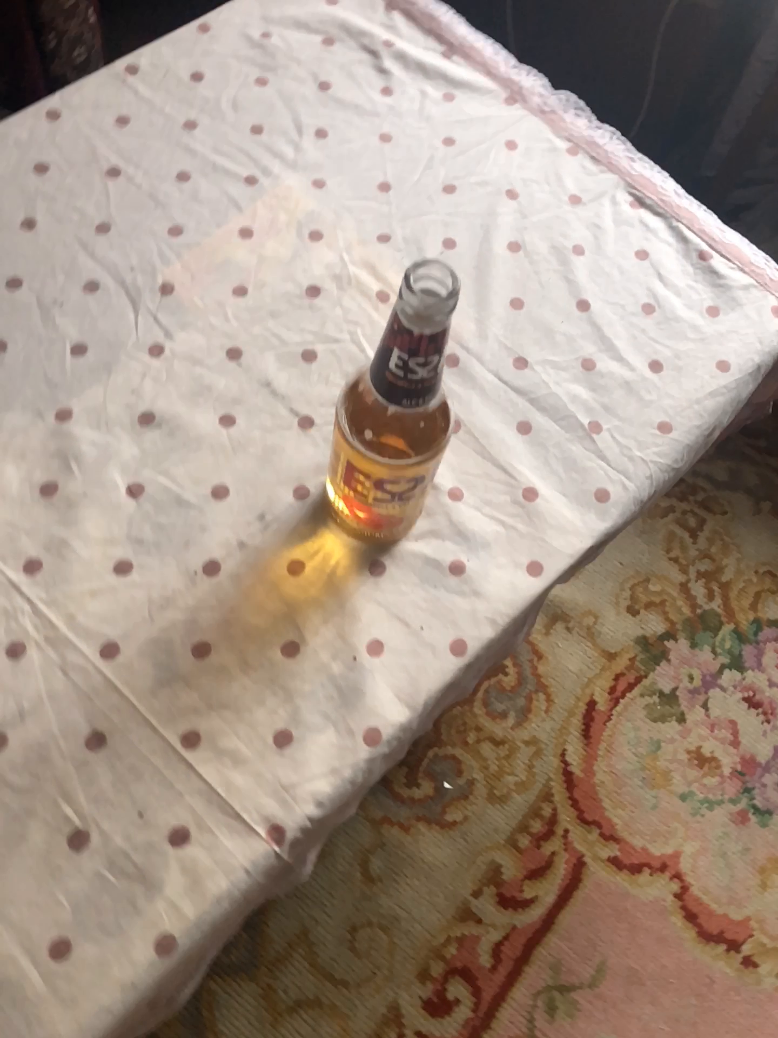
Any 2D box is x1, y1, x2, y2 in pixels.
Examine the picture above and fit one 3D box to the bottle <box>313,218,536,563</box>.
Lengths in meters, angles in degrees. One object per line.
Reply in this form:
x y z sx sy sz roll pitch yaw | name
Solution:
0.006 -0.056 0.472 0.080 0.209 0.080 2 65 -5 | bottle
